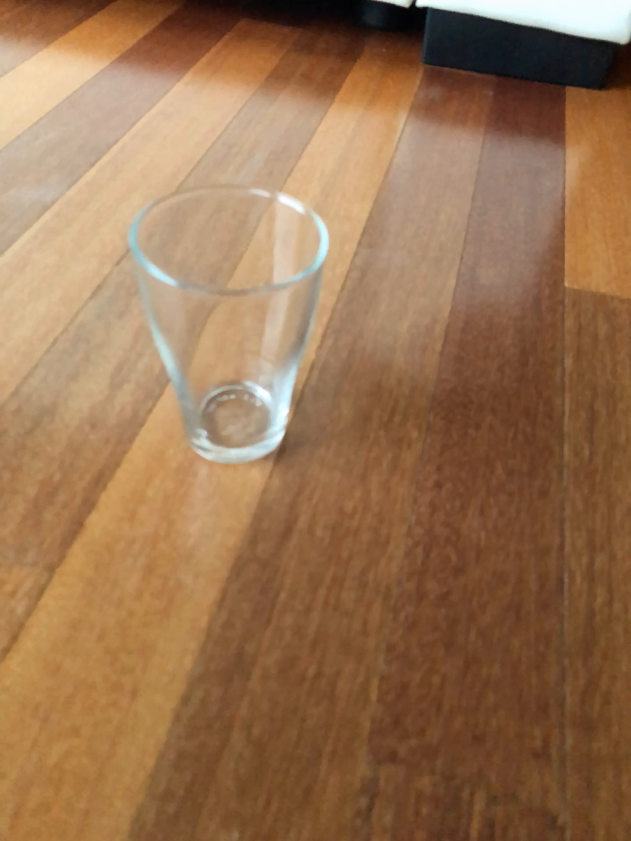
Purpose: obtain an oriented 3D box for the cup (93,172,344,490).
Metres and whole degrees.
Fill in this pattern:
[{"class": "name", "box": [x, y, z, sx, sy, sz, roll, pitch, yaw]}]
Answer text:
[{"class": "cup", "box": [-0.039, -0.040, 0.325, 0.090, 0.109, 0.091, 3, 47, -3]}]
